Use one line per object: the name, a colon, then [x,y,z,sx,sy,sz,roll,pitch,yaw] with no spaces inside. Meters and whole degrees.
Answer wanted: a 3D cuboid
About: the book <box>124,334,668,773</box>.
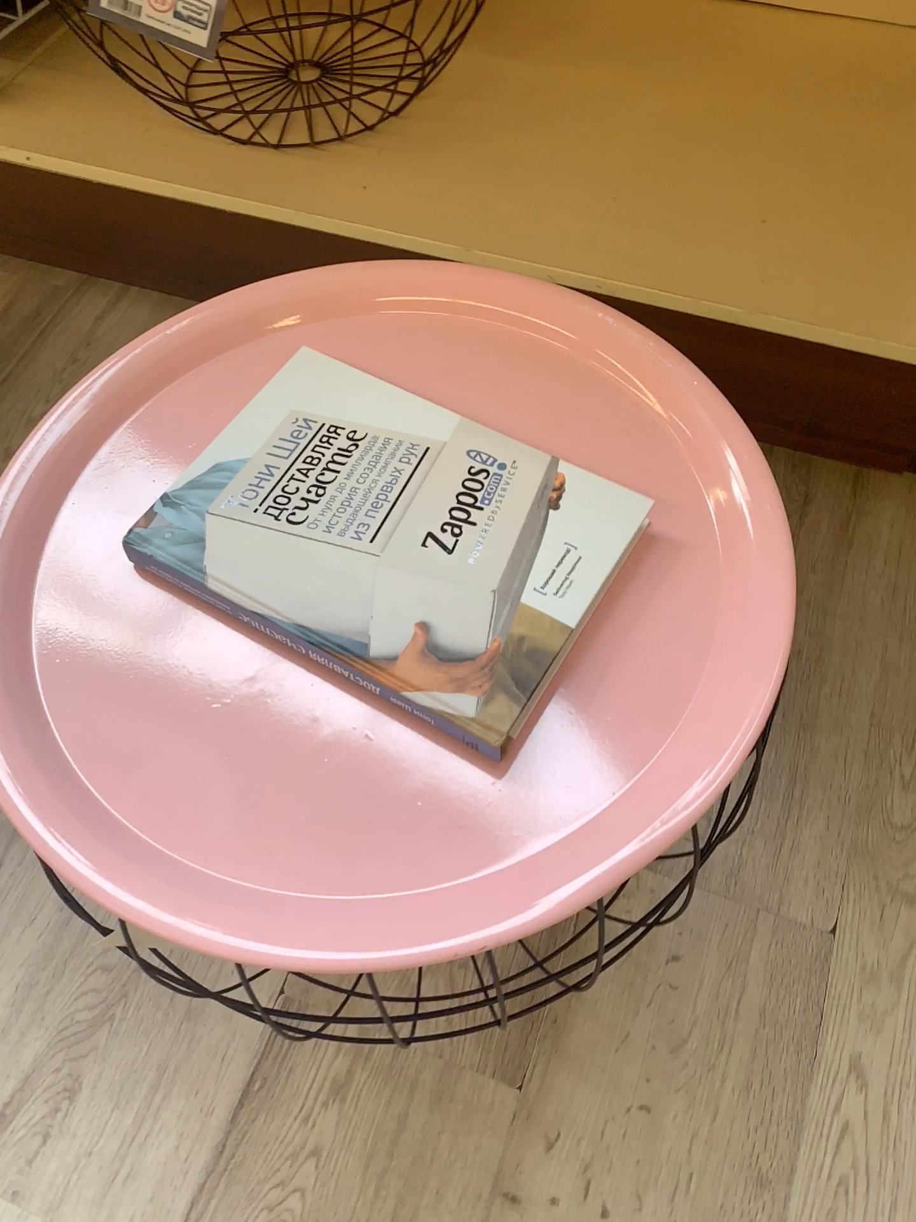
book: [-0.032,-0.044,0.506,0.232,0.030,0.170,28,64,17]
